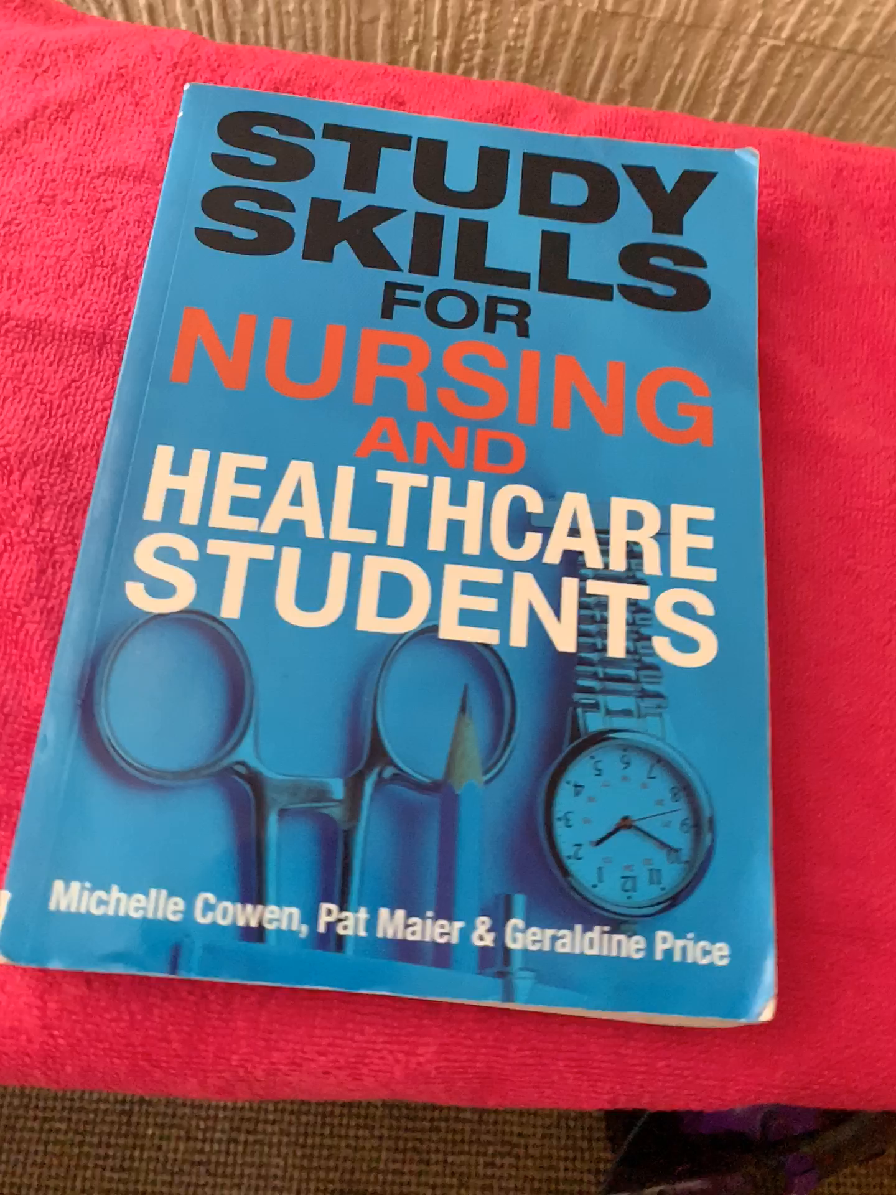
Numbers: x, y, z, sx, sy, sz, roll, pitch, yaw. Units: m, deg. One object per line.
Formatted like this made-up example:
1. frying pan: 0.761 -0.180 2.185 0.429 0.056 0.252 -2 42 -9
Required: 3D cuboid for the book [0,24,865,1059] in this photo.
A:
1. book: -0.001 -0.031 0.258 0.200 0.040 0.271 6 69 -4
